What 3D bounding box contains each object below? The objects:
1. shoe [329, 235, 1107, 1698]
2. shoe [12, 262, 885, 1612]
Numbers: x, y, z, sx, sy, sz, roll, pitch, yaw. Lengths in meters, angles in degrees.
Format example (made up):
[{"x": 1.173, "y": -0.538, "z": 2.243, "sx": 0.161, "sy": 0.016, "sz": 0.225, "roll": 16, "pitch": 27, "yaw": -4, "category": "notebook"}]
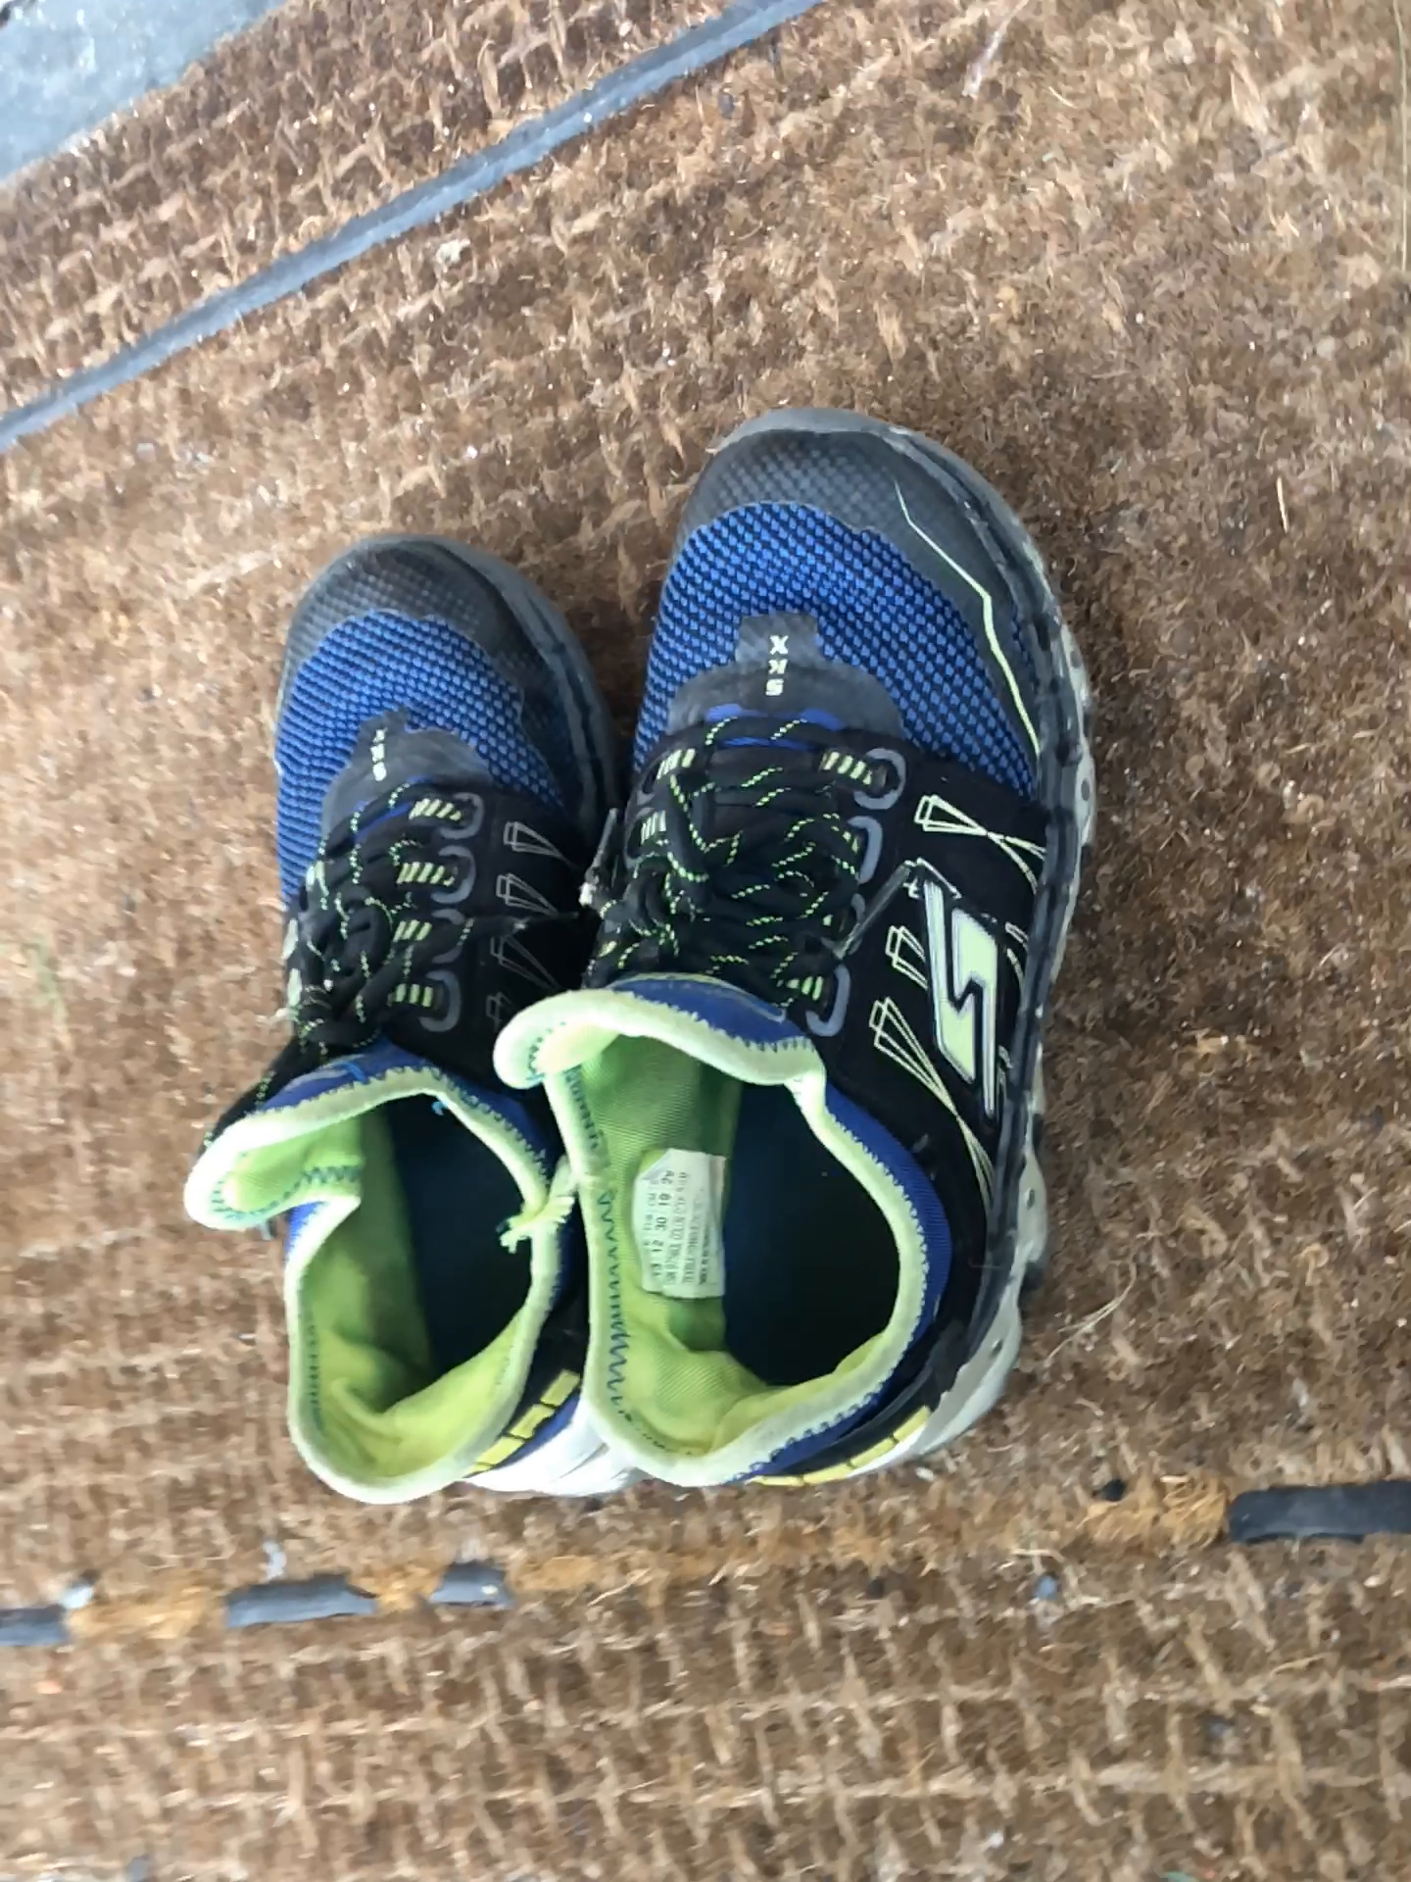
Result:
[{"x": 0.009, "y": 0.003, "z": 0.278, "sx": 0.090, "sy": 0.100, "sz": 0.200, "roll": 3, "pitch": 89, "yaw": 27, "category": "shoe"}, {"x": -0.053, "y": 0.000, "z": 0.329, "sx": 0.090, "sy": 0.100, "sz": 0.230, "roll": -21, "pitch": 78, "yaw": 25, "category": "shoe"}]
